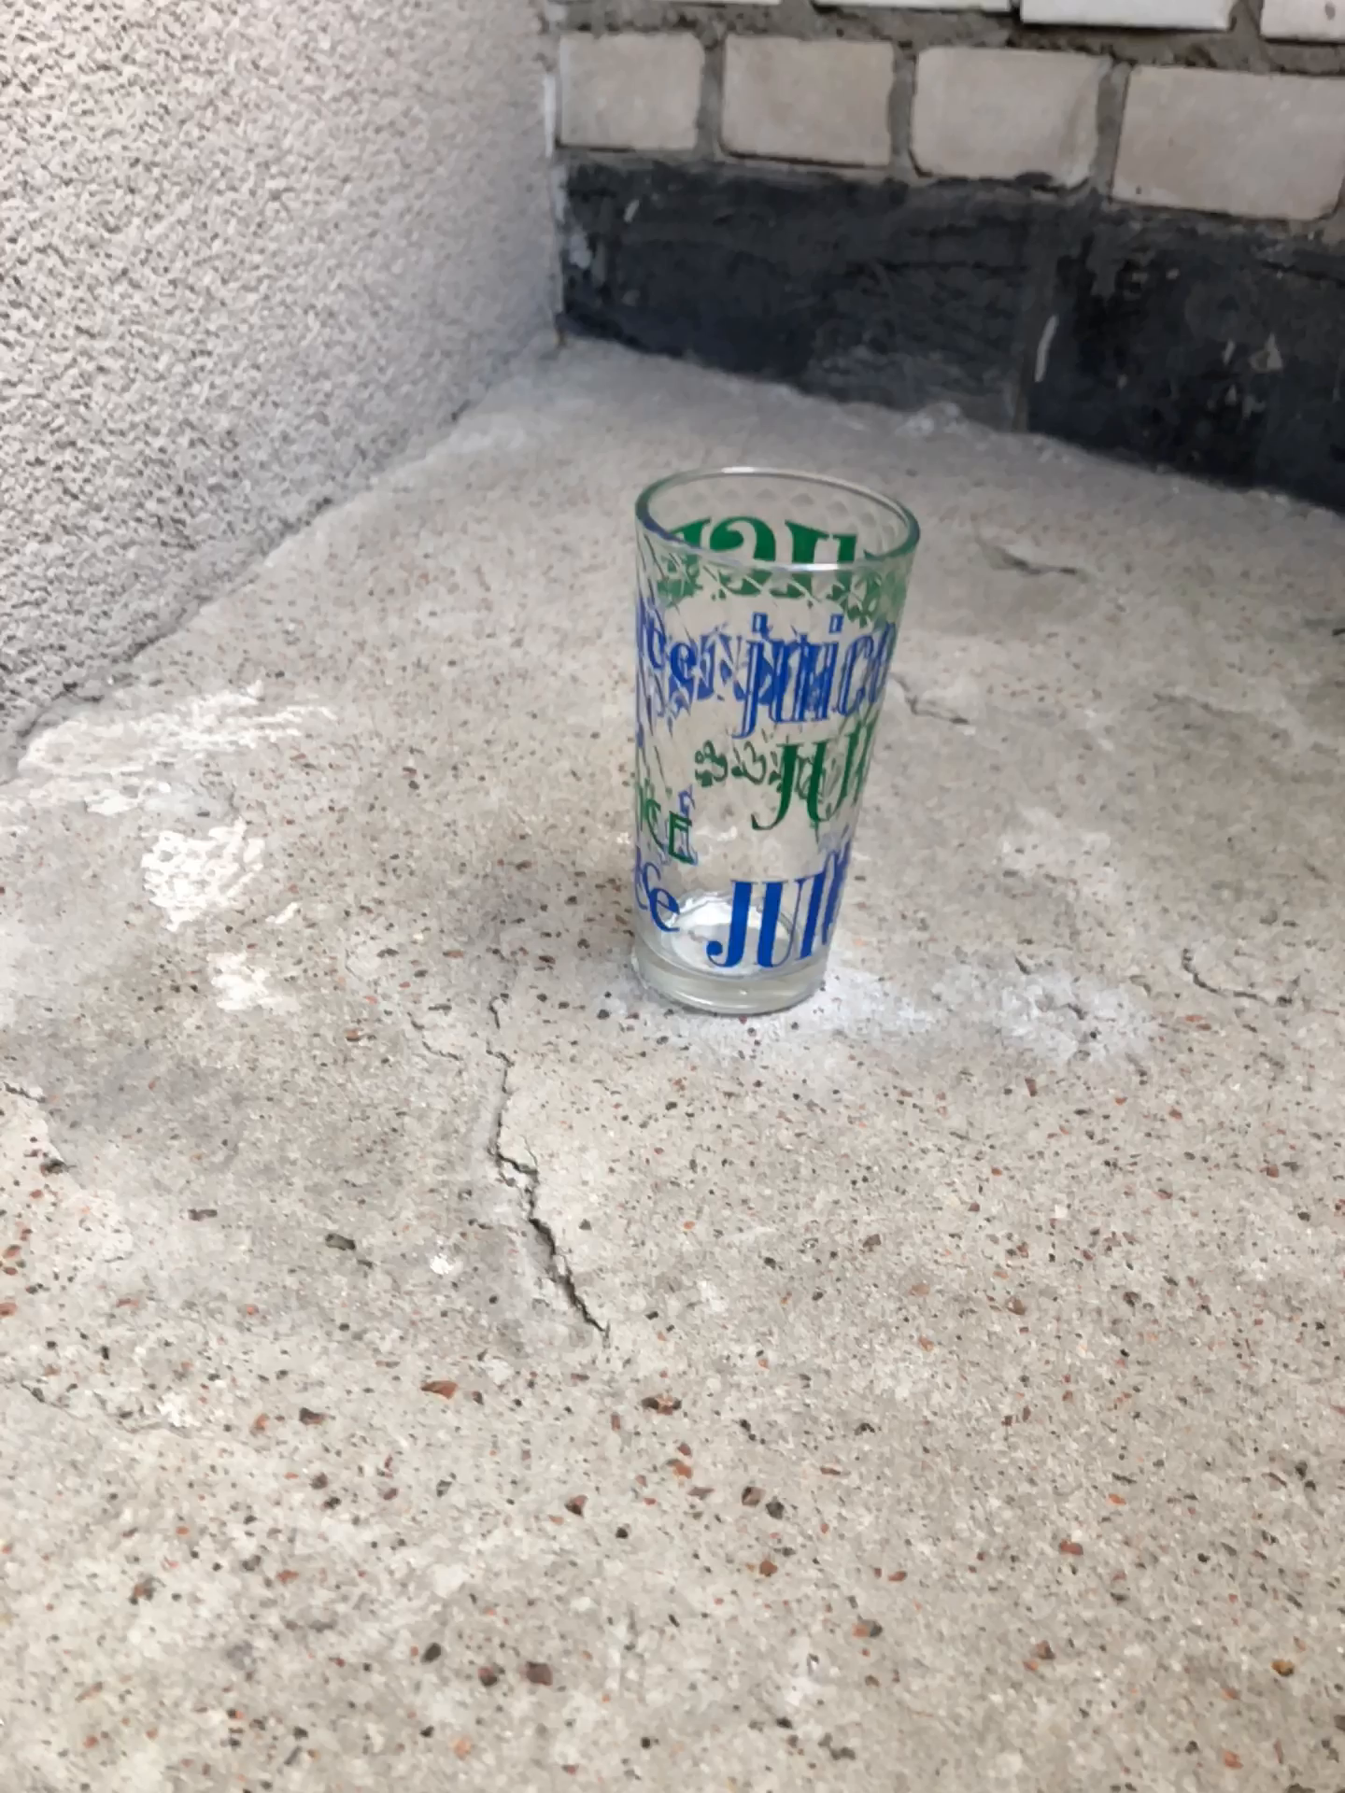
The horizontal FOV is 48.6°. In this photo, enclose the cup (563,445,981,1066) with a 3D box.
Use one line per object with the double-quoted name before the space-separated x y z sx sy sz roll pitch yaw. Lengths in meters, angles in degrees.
"cup" 0.018 -0.036 0.364 0.066 0.125 0.067 3 32 -2
